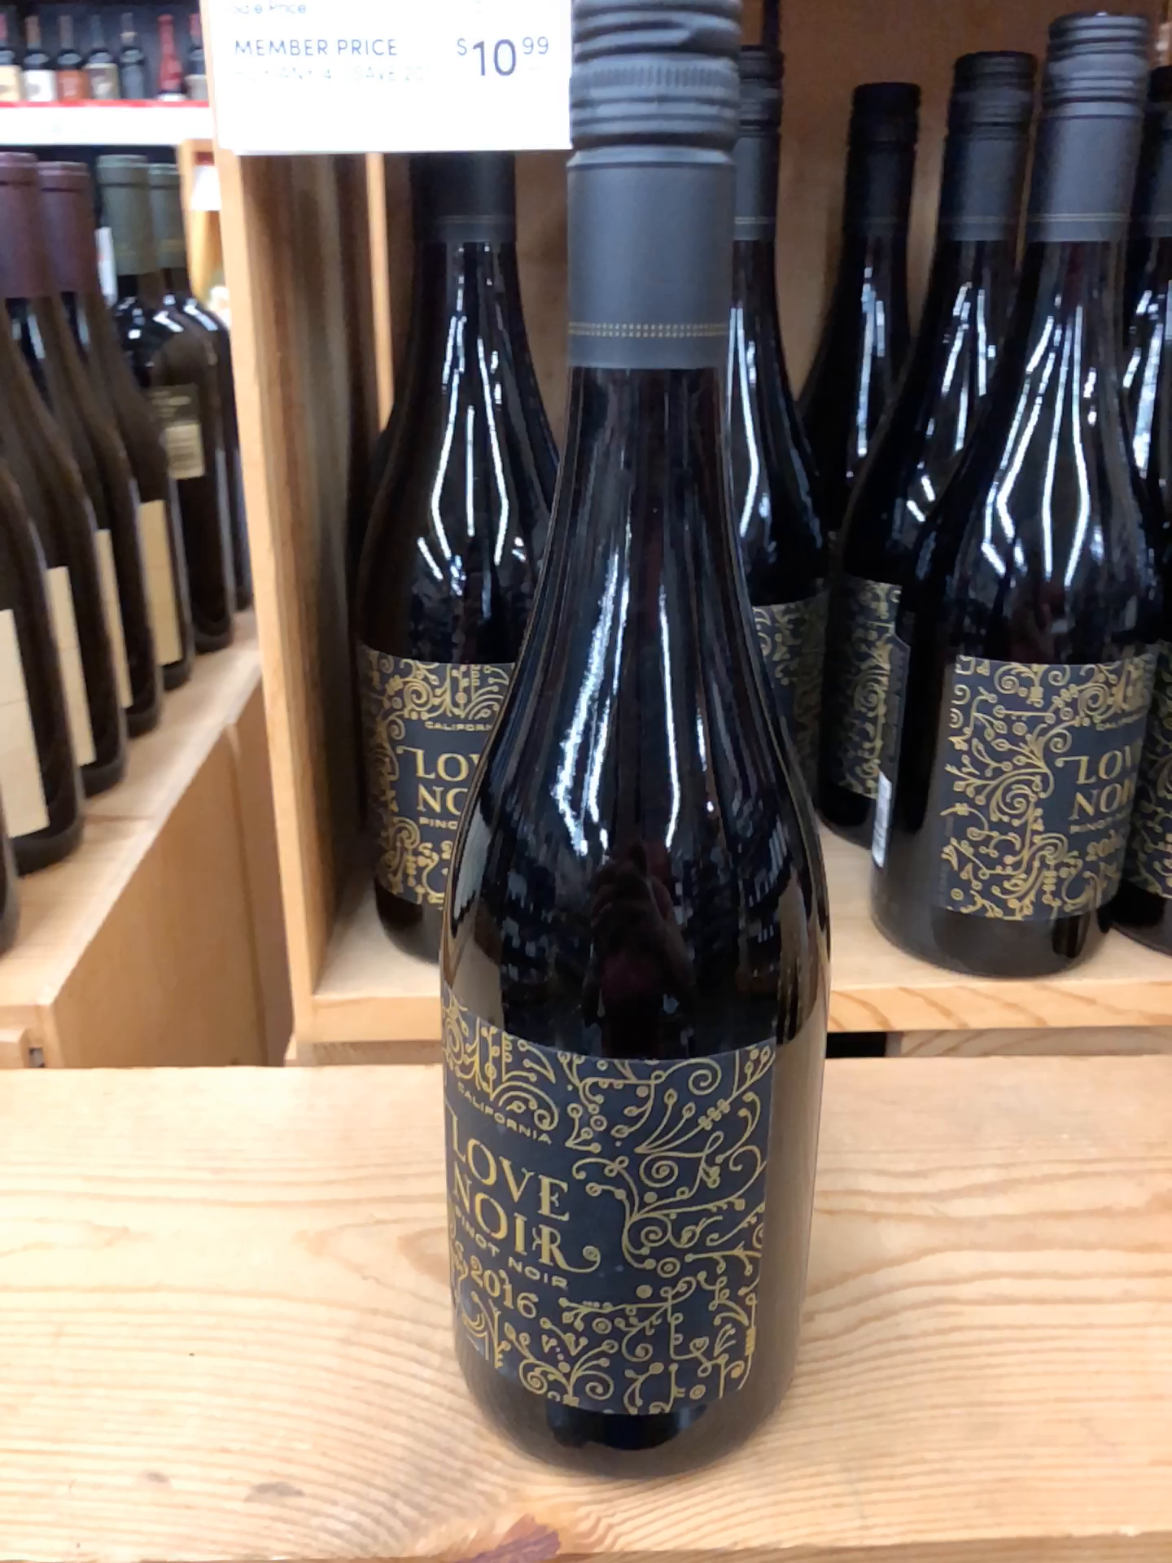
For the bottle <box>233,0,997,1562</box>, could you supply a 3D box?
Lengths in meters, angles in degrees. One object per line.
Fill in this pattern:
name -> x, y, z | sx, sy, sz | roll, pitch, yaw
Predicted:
bottle -> 0.006, 0.005, 0.263 | 0.090, 0.285, 0.085 | 0, 22, 0
